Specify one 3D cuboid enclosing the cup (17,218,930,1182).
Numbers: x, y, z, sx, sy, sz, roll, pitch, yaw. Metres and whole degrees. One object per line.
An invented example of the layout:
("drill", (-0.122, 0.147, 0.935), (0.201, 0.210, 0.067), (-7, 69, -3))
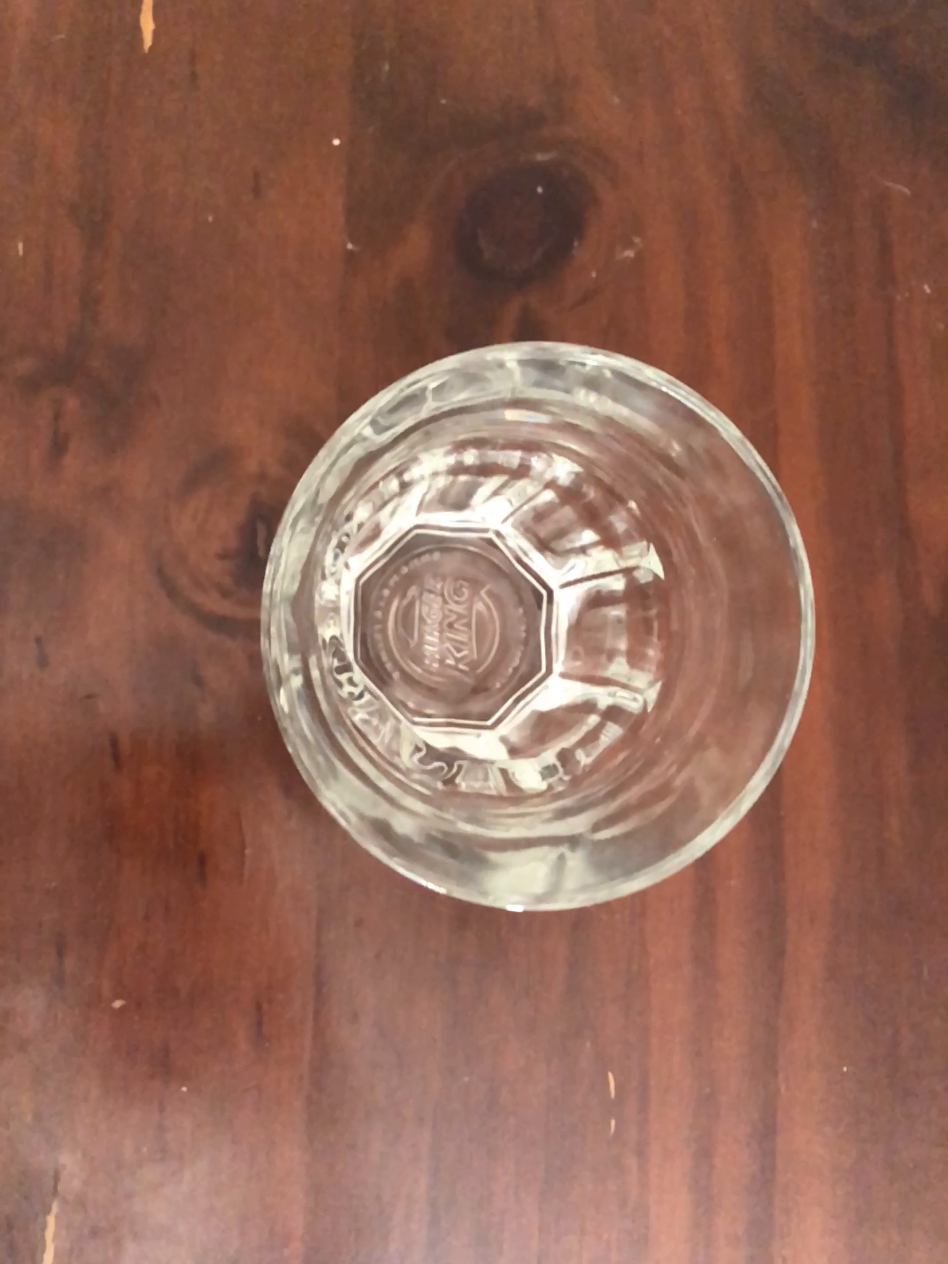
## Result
("cup", (-0.003, 0.012, 0.193), (0.090, 0.096, 0.100), (34, 77, -8))
